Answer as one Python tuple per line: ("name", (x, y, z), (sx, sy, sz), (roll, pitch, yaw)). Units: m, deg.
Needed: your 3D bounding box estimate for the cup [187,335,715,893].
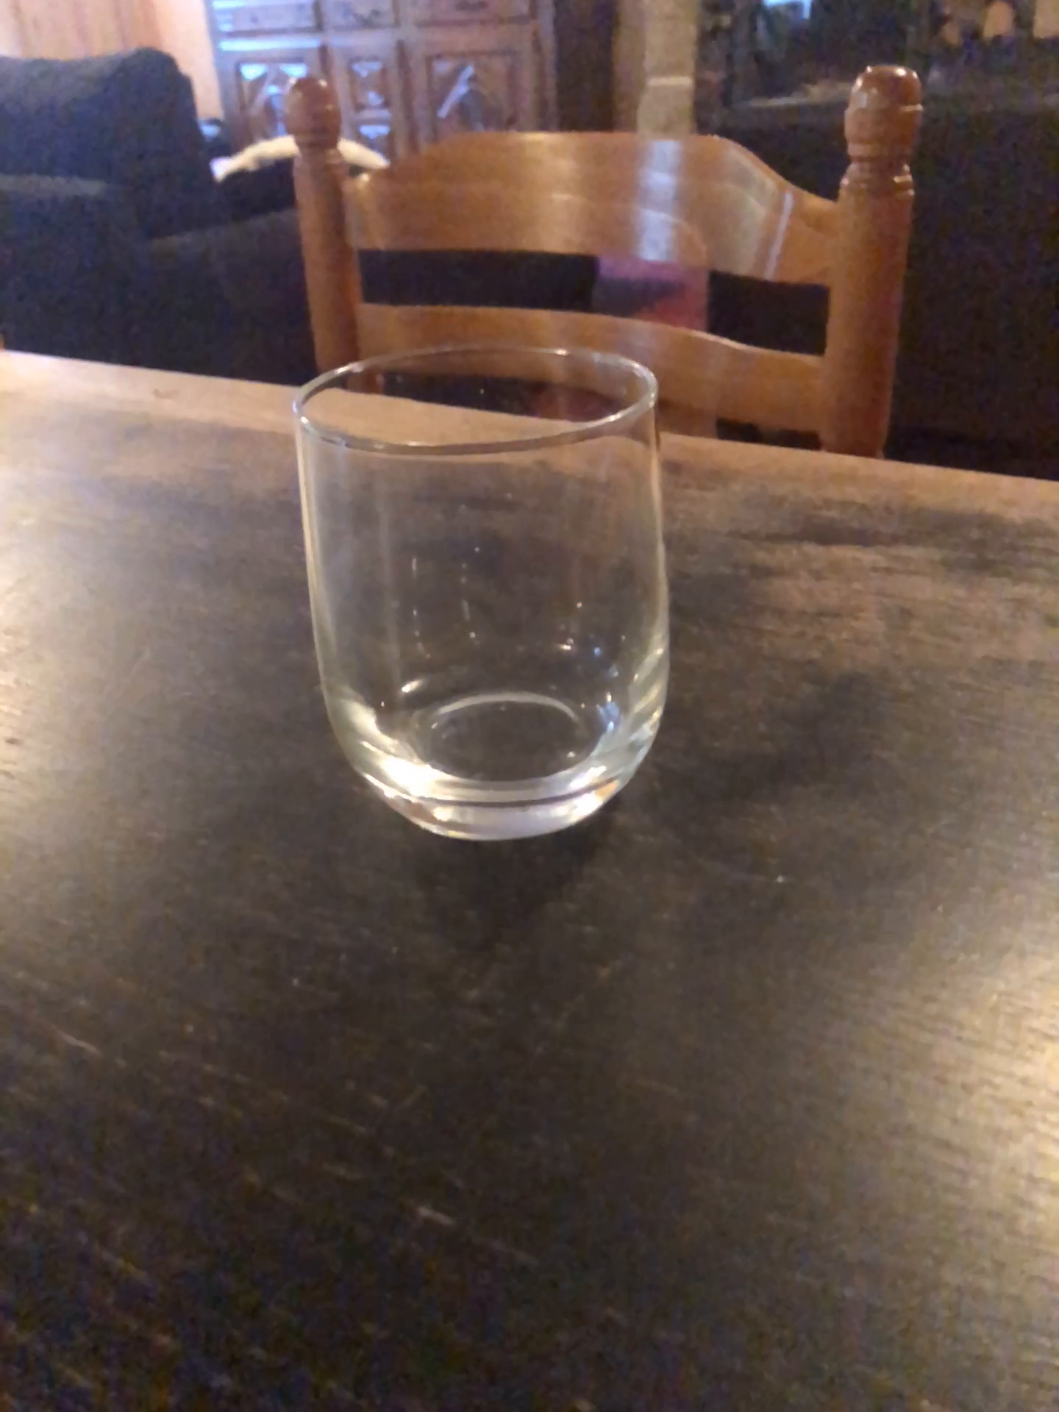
("cup", (-0.010, -0.024, 0.244), (0.077, 0.084, 0.071), (-2, 30, 1))
